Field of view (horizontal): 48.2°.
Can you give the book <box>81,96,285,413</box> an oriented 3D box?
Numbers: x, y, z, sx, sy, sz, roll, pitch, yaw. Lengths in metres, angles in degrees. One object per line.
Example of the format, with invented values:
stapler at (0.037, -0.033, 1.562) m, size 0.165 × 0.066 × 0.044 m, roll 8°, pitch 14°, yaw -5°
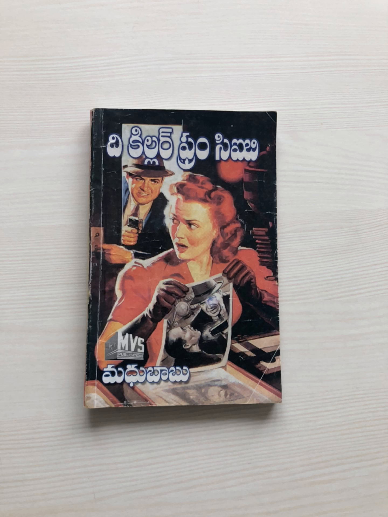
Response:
book at (-0.006, -0.005, 0.227) m, size 0.100 × 0.012 × 0.160 m, roll 0°, pitch 83°, yaw -5°
